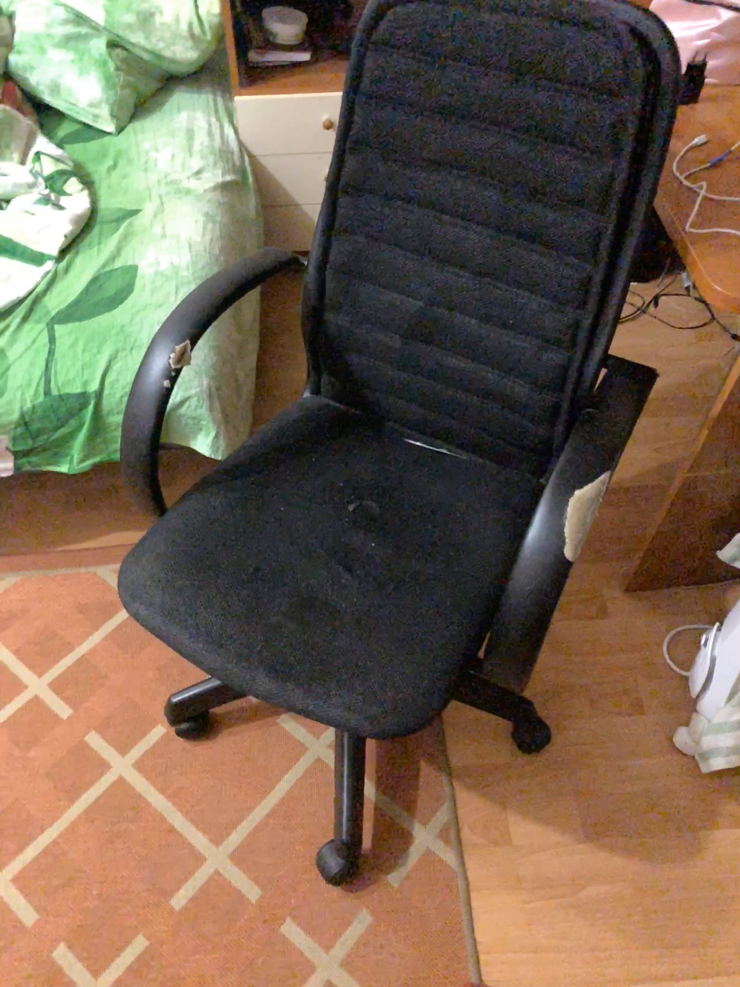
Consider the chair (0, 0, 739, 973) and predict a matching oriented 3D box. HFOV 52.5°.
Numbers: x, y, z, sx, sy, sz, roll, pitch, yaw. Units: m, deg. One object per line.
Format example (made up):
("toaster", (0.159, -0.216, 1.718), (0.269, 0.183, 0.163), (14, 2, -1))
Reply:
("chair", (0.006, 0.007, 0.989), (0.671, 0.992, 0.725), (22, 54, 16))
